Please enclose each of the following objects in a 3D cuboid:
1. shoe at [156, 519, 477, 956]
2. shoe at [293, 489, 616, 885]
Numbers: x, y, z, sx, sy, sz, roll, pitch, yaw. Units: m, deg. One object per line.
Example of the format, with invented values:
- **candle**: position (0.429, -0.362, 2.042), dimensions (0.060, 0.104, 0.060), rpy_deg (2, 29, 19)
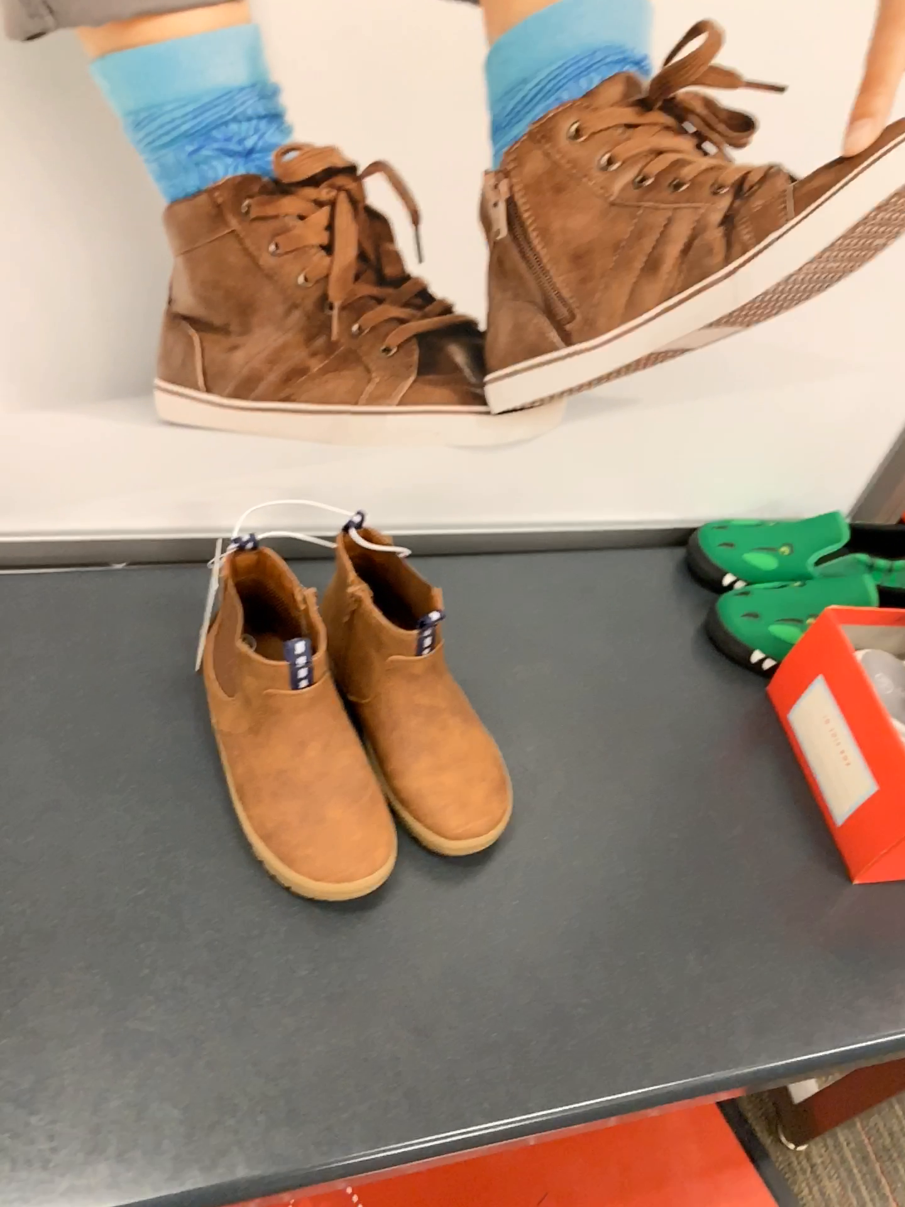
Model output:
- **shoe**: position (-0.081, 0.063, 0.491), dimensions (0.086, 0.100, 0.191), rpy_deg (-16, 53, -27)
- **shoe**: position (-0.010, 0.040, 0.533), dimensions (0.086, 0.100, 0.191), rpy_deg (-16, 53, -27)
